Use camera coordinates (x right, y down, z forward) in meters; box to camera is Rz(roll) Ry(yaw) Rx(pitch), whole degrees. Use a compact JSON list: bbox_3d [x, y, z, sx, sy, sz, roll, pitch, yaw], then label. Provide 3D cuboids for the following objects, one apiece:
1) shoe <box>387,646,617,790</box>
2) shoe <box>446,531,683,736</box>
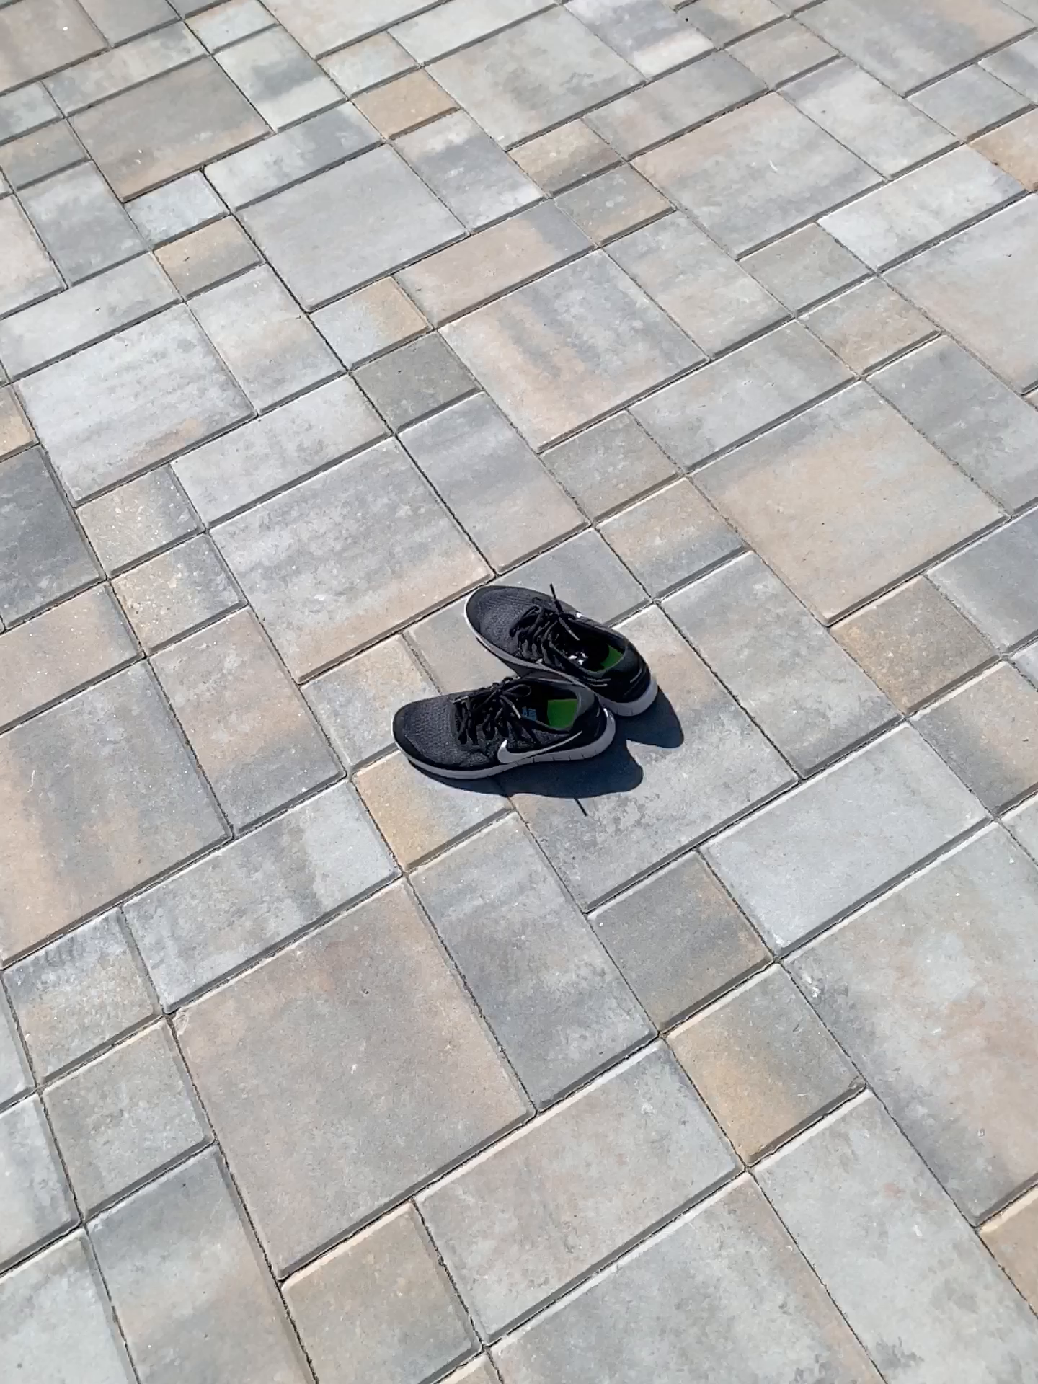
[{"bbox_3d":[-0.017,0.032,1.223,0.250,0.110,0.110,-4,62,3],"label":"shoe"},{"bbox_3d":[0.053,-0.071,1.251,0.251,0.100,0.110,29,68,19],"label":"shoe"}]
